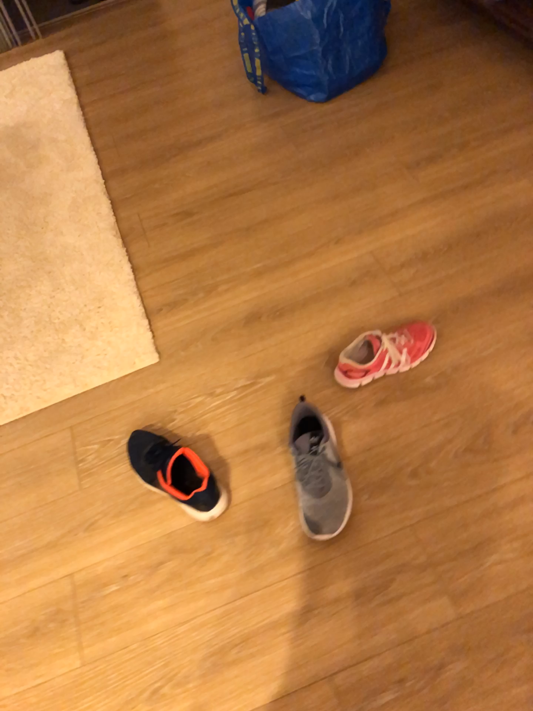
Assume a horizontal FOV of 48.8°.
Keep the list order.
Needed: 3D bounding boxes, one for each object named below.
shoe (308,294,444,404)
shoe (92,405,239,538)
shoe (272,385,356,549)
[{"bbox_3d":[0.259,-0.017,1.400,0.280,0.090,0.141,-24,51,-5],"label":"shoe"},{"bbox_3d":[-0.226,0.251,1.305,0.301,0.100,0.130,27,64,30],"label":"shoe"},{"bbox_3d":[0.095,0.227,1.231,0.130,0.110,0.307,-10,52,6],"label":"shoe"}]
